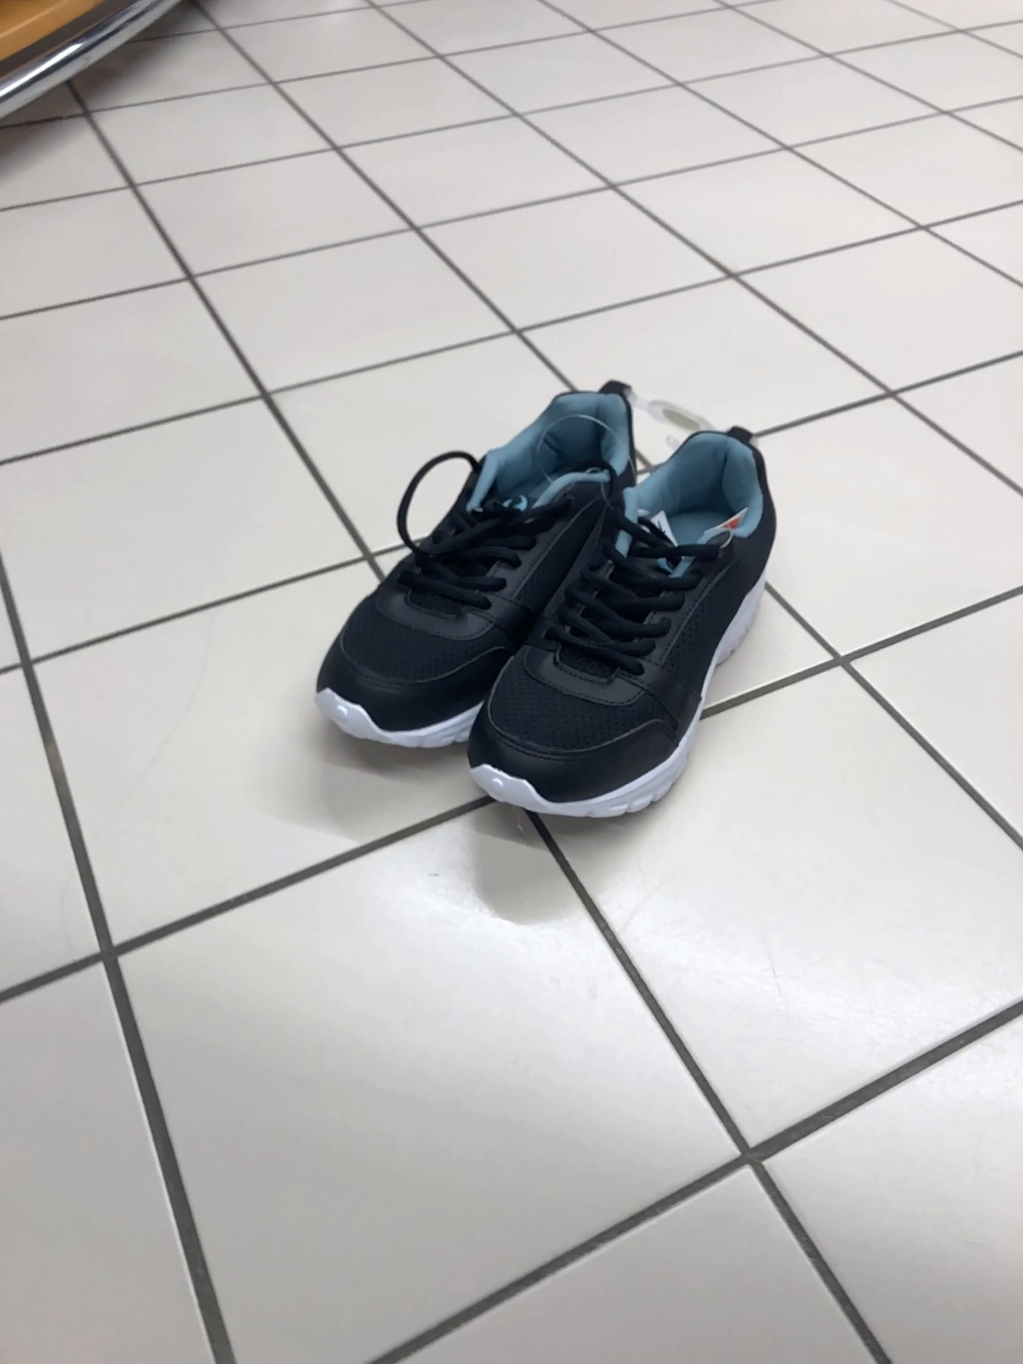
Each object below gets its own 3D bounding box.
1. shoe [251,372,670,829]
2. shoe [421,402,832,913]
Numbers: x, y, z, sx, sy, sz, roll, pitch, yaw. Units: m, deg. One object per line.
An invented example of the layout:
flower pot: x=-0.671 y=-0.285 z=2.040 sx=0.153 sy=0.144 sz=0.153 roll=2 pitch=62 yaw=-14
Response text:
shoe: x=-0.013 y=-0.056 z=0.602 sx=0.100 sy=0.099 sz=0.241 roll=19 pitch=49 yaw=23
shoe: x=0.065 y=-0.024 z=0.574 sx=0.100 sy=0.109 sz=0.241 roll=22 pitch=50 yaw=20
